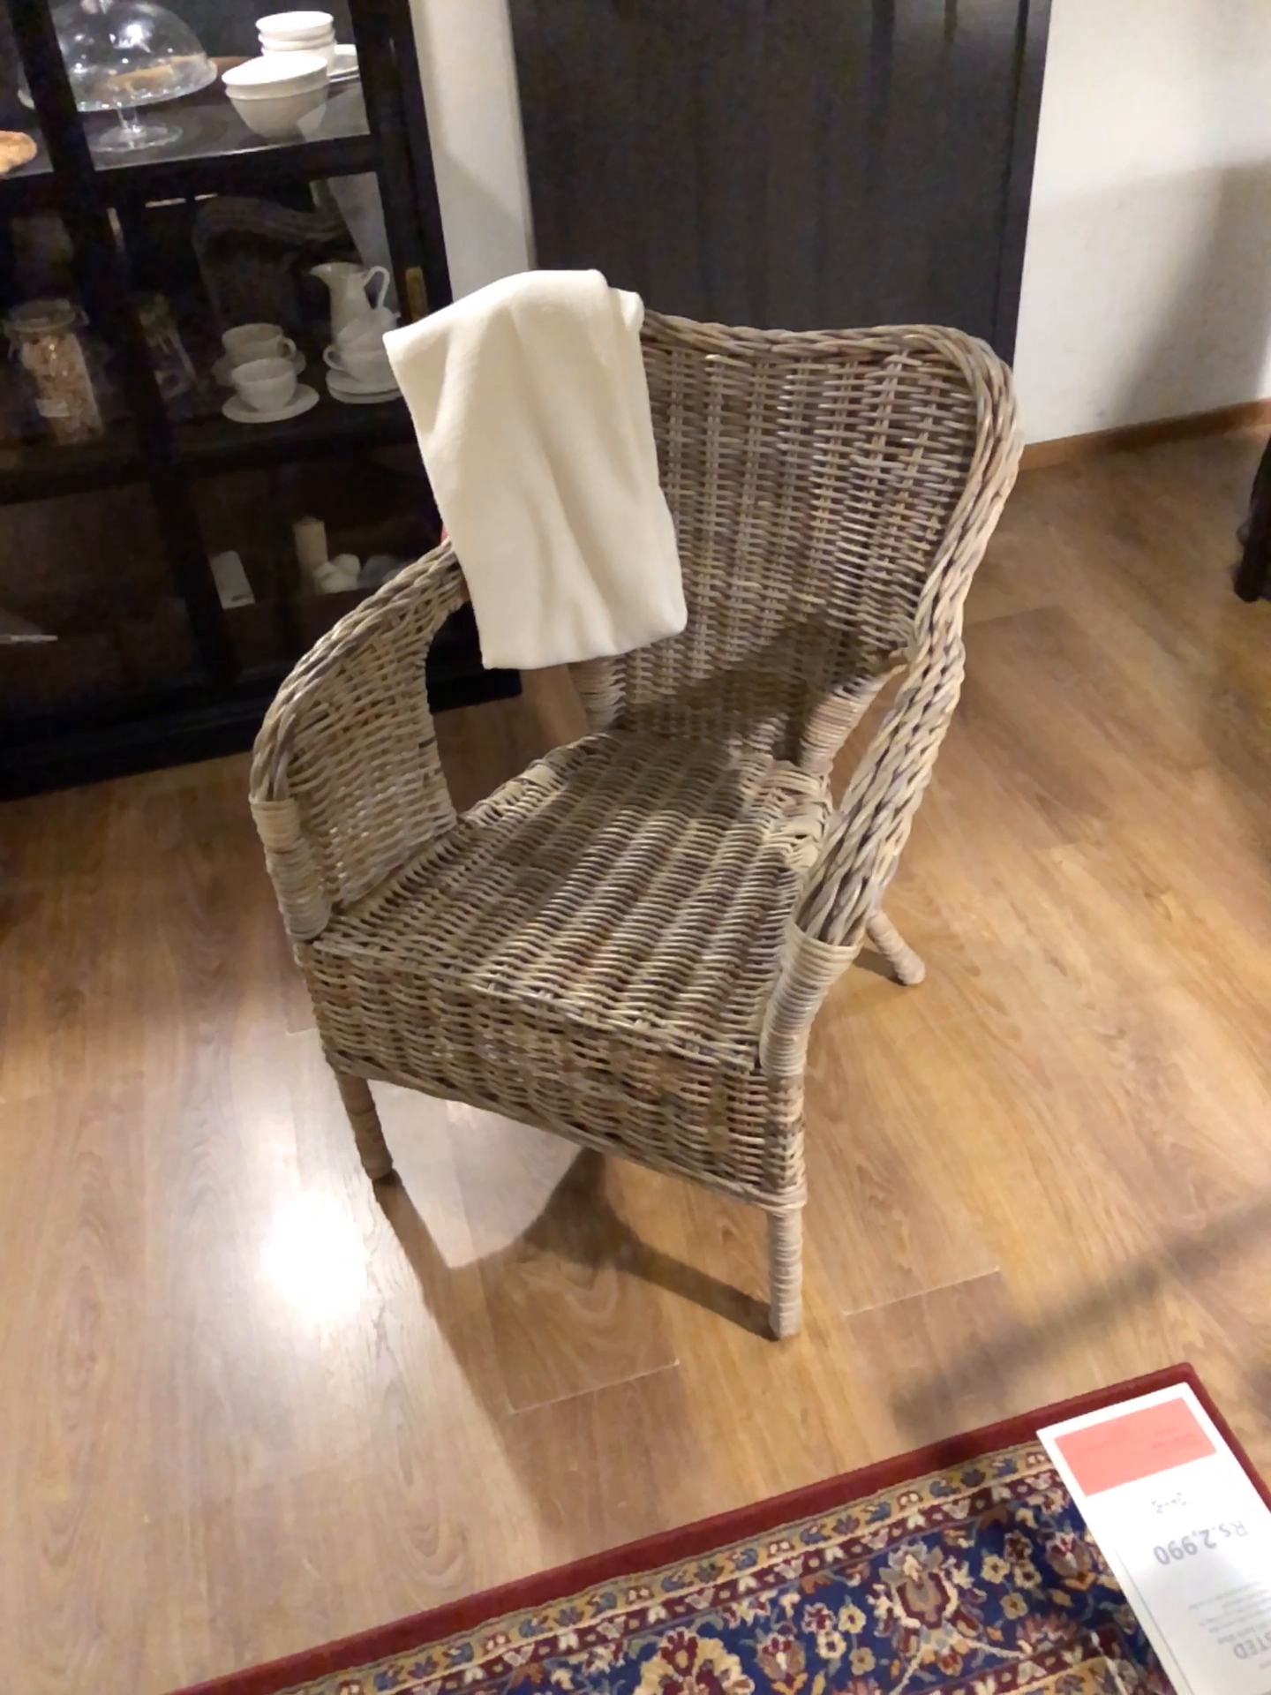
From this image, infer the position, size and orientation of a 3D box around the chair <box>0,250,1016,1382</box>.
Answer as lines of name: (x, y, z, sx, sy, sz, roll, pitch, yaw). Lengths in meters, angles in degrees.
chair: (-0.041, -0.064, 1.398, 0.621, 0.815, 0.633, 13, 42, 21)
